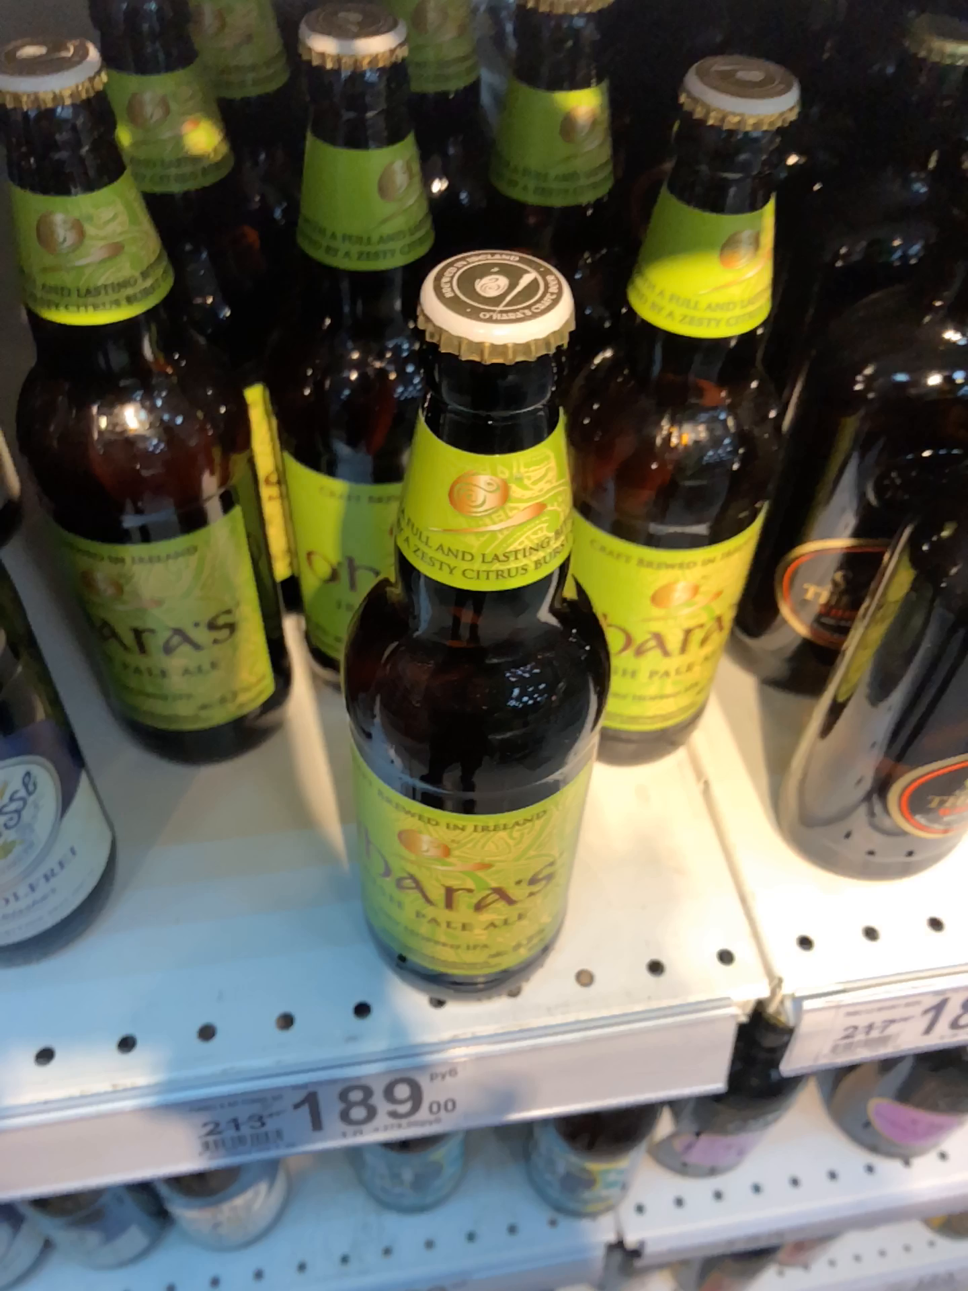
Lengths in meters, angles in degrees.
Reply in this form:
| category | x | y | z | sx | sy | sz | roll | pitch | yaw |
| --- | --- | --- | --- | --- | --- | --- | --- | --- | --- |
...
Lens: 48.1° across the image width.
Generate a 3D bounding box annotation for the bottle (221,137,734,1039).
| category | x | y | z | sx | sy | sz | roll | pitch | yaw |
| --- | --- | --- | --- | --- | --- | --- | --- | --- | --- |
| bottle | -0.003 | 0.012 | 0.288 | 0.070 | 0.250 | 0.070 | 2 | 50 | -2 |
